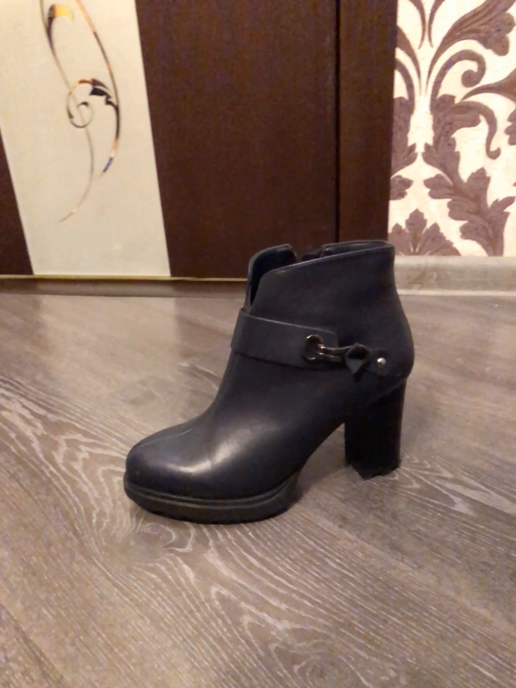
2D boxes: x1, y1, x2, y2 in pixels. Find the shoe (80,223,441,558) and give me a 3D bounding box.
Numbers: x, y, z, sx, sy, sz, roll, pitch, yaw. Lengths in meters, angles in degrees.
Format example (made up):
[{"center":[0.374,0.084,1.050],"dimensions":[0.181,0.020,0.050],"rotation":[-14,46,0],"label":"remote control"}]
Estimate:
[{"center":[0.000,0.025,0.438],"dimensions":[0.230,0.189,0.111],"rotation":[-9,25,-12],"label":"shoe"}]
